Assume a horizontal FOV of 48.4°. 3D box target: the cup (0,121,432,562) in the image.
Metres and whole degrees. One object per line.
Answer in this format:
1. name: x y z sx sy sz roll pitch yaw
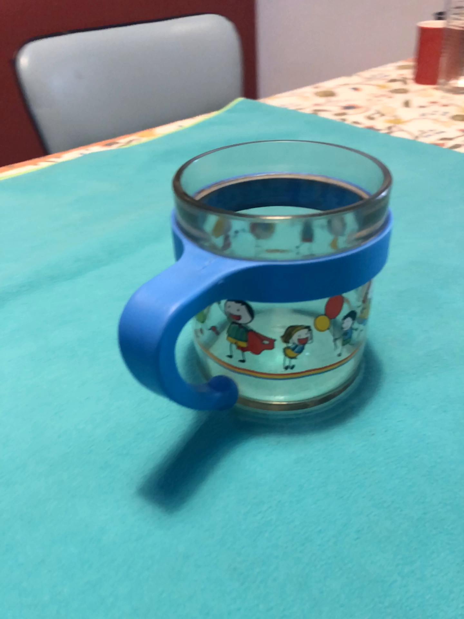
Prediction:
1. cup: 0.003 -0.005 0.199 0.090 0.089 0.131 19 41 29
